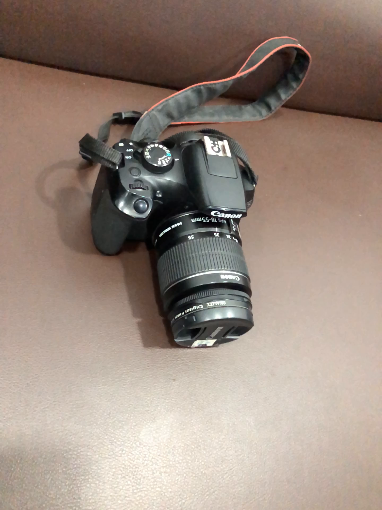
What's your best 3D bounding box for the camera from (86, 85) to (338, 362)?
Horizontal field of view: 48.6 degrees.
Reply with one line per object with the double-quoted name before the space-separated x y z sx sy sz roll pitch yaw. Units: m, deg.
"camera" 0.002 -0.021 0.320 0.130 0.089 0.171 4 56 -27
